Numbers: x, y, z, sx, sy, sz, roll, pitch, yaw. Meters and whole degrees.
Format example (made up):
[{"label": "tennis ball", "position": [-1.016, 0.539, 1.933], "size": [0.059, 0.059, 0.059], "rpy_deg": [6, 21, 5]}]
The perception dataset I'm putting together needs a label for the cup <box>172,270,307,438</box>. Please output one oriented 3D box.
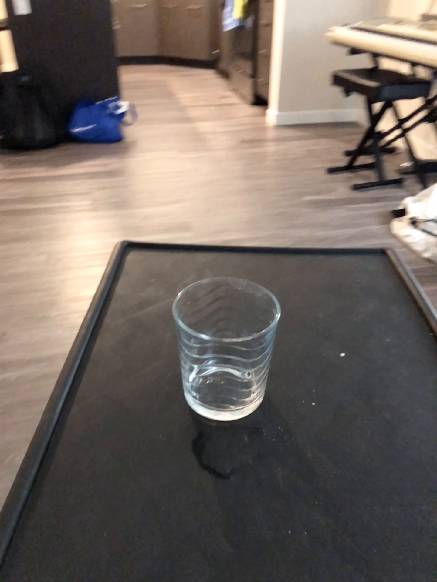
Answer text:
[{"label": "cup", "position": [0.013, 0.052, 0.424], "size": [0.090, 0.099, 0.090], "rpy_deg": [0, 33, 0]}]
